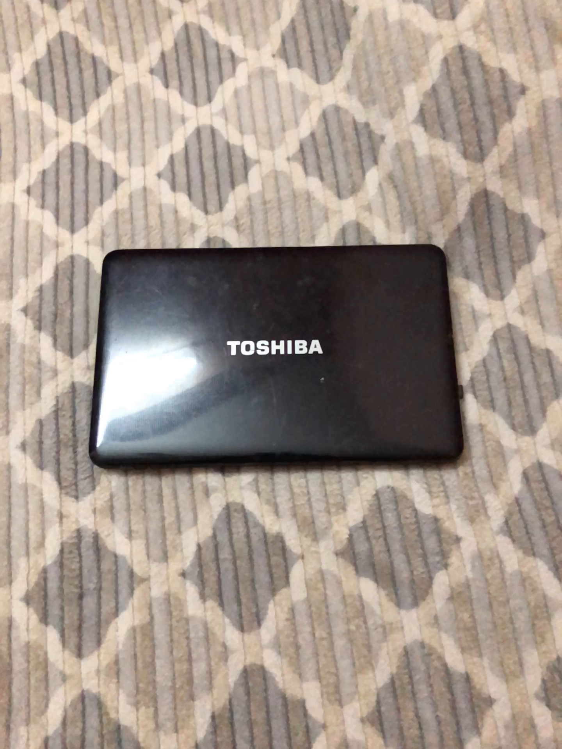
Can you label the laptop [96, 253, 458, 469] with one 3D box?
[{"bbox_3d":[-0.008,-0.020,0.693,0.375,0.023,0.249,-1,70,1],"label":"laptop"}]
